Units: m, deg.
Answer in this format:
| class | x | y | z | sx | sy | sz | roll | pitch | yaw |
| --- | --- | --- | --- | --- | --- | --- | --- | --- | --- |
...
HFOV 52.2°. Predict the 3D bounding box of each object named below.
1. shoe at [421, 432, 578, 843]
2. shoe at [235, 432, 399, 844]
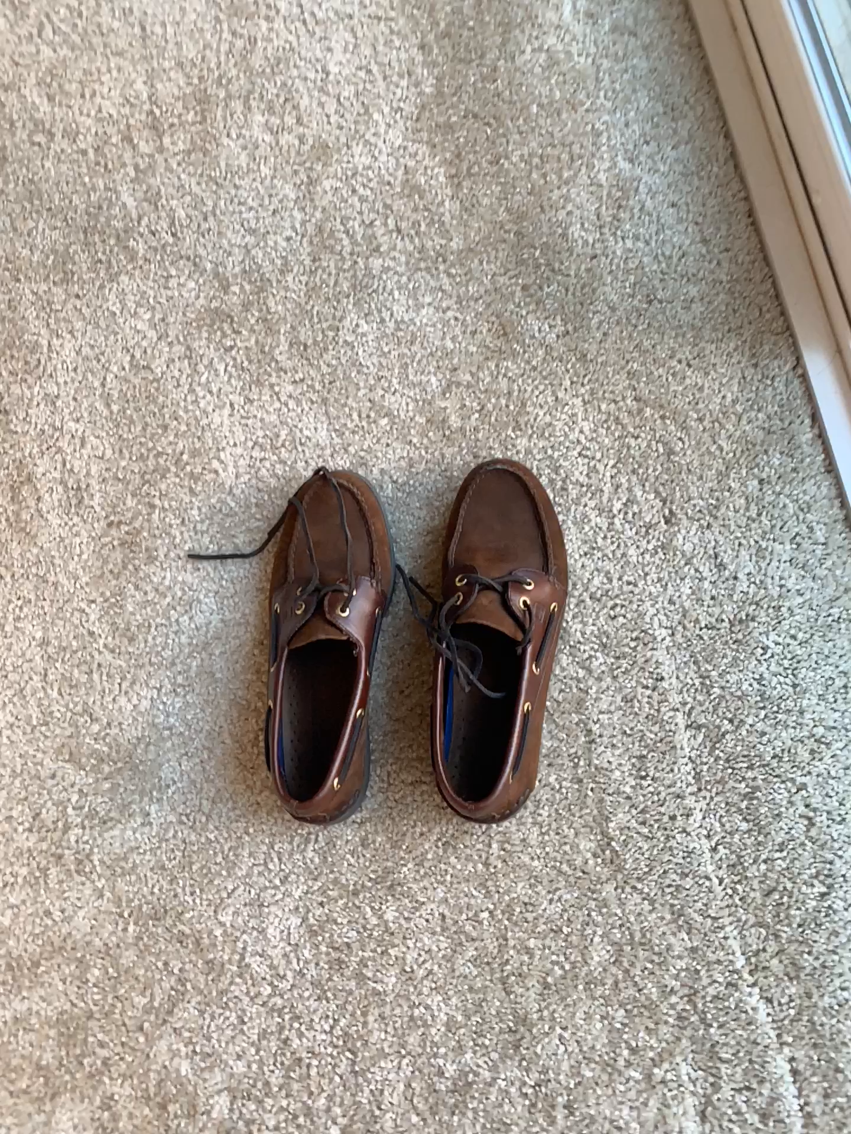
| class | x | y | z | sx | sy | sz | roll | pitch | yaw |
| --- | --- | --- | --- | --- | --- | --- | --- | --- | --- |
| shoe | 0.060 | 0.056 | 0.687 | 0.110 | 0.100 | 0.300 | -1 | 78 | 9 |
| shoe | -0.084 | 0.058 | 0.726 | 0.100 | 0.100 | 0.320 | -1 | 78 | 9 |
